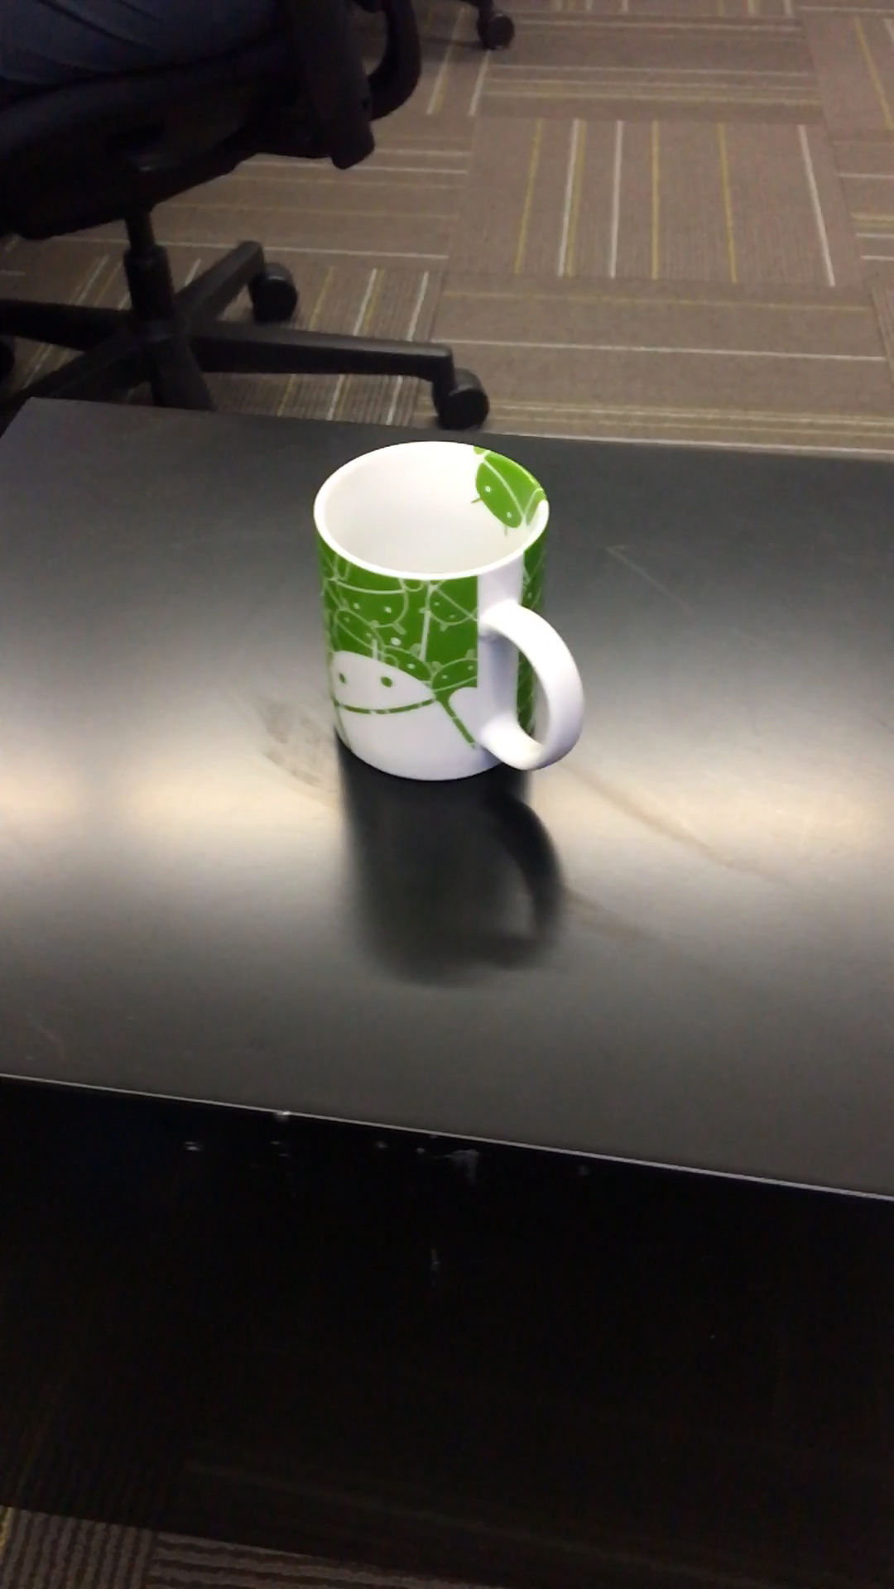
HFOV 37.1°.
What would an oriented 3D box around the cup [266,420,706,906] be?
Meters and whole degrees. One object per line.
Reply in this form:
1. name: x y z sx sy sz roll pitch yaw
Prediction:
1. cup: 0.013 -0.051 0.493 0.120 0.110 0.090 33 54 28
